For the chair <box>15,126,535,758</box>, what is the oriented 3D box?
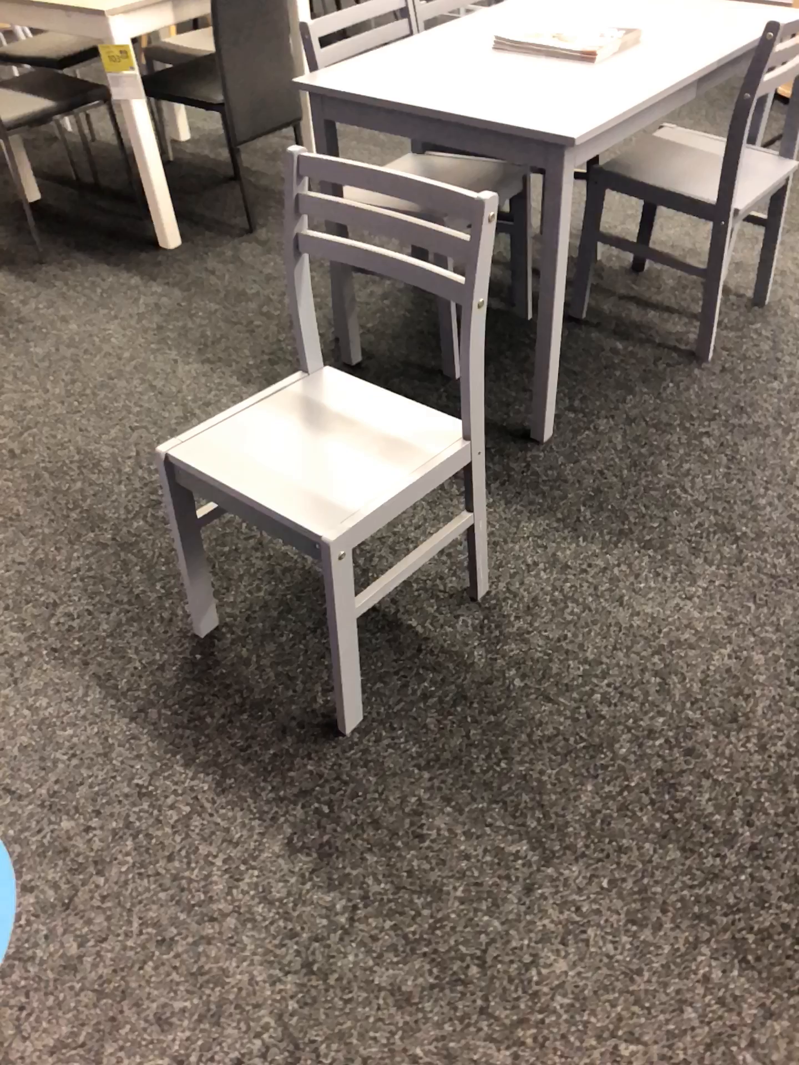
[{"bbox_3d":[-0.138,-0.149,1.418,0.490,0.766,0.493,26,50,29],"label":"chair"}]
